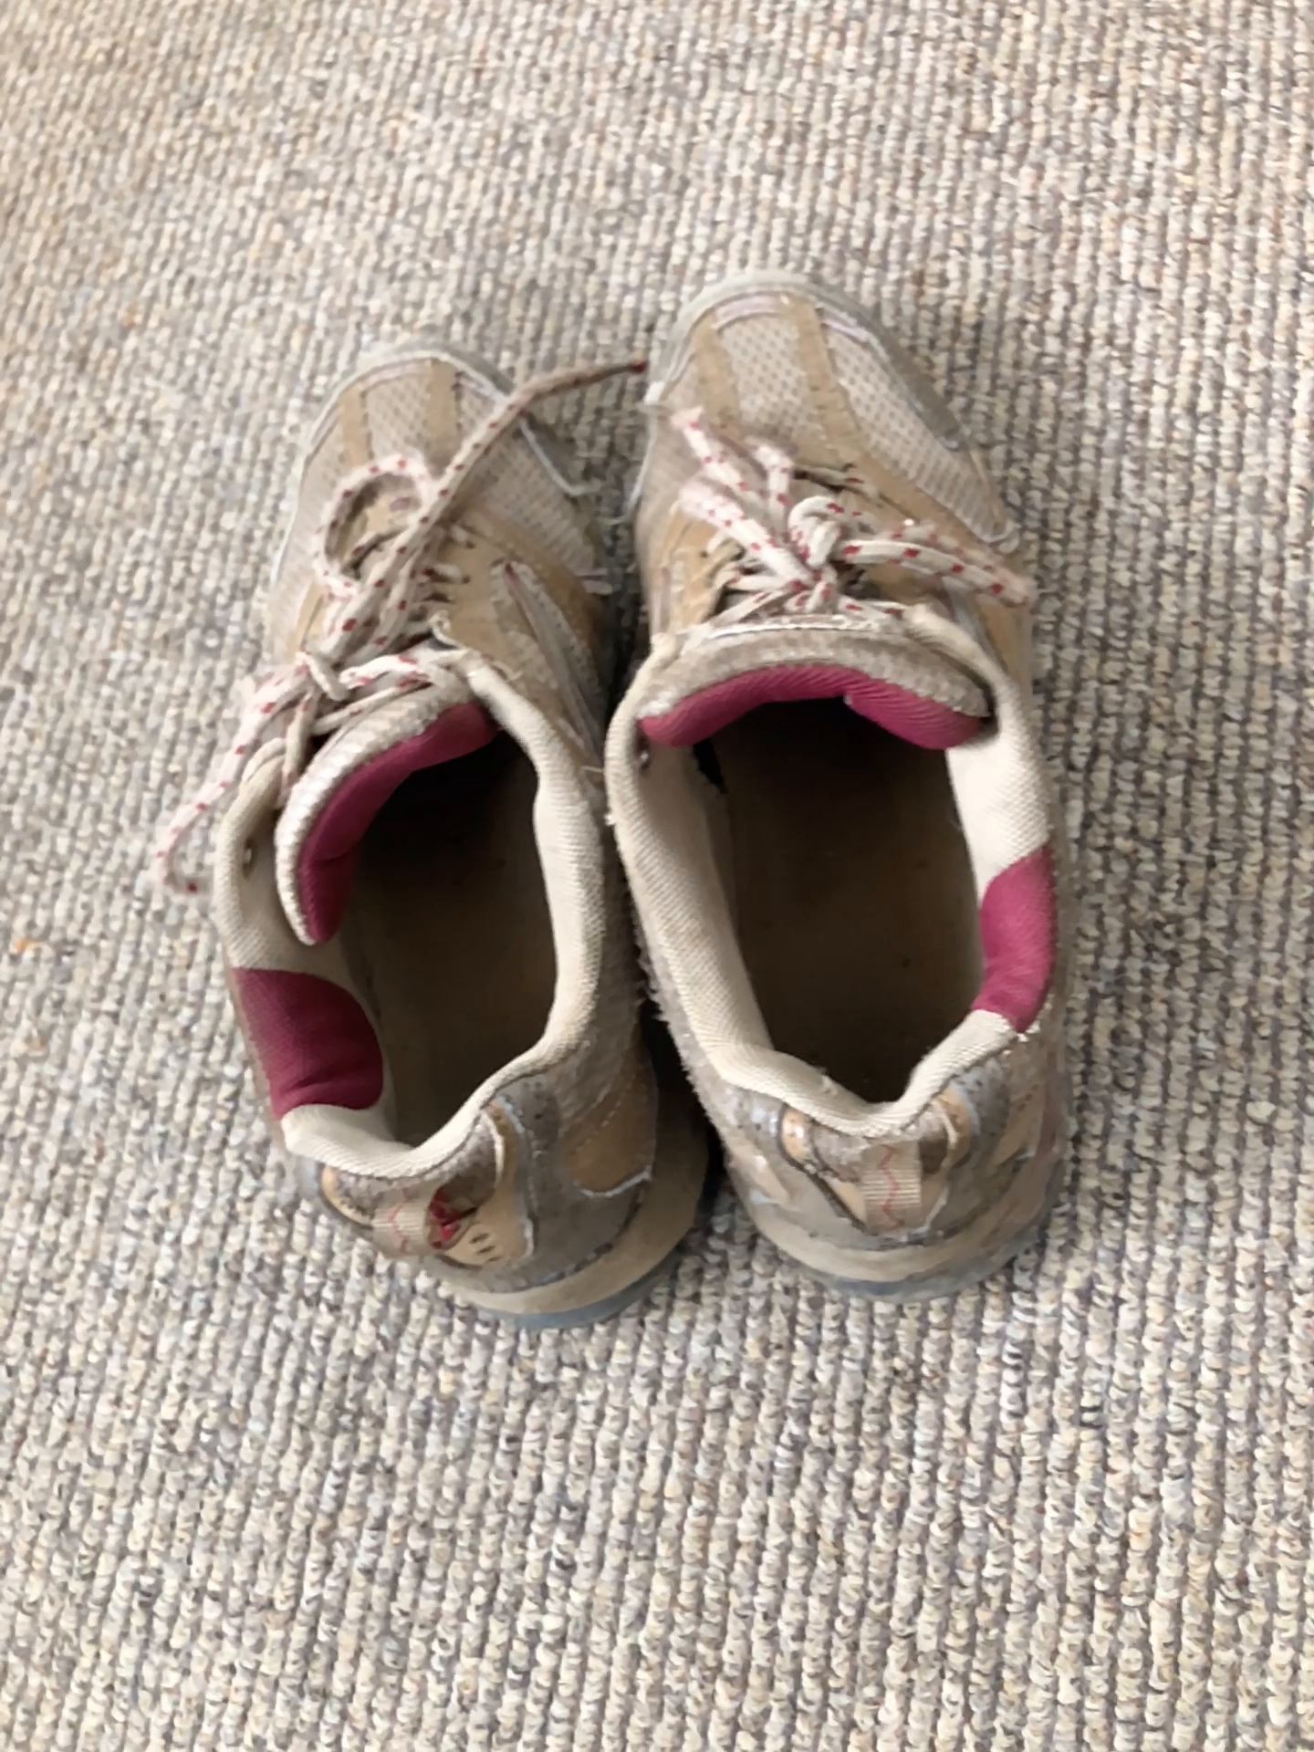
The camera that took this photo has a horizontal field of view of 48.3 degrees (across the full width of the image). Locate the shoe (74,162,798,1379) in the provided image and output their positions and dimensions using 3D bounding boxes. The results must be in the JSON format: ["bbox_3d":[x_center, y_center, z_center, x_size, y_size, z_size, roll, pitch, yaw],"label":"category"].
[{"bbox_3d":[-0.057,-0.023,0.380,0.110,0.119,0.270,-16,70,5],"label":"shoe"}]

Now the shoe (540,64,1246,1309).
[{"bbox_3d":[0.048,-0.039,0.369,0.112,0.123,0.272,-8,71,8],"label":"shoe"}]
